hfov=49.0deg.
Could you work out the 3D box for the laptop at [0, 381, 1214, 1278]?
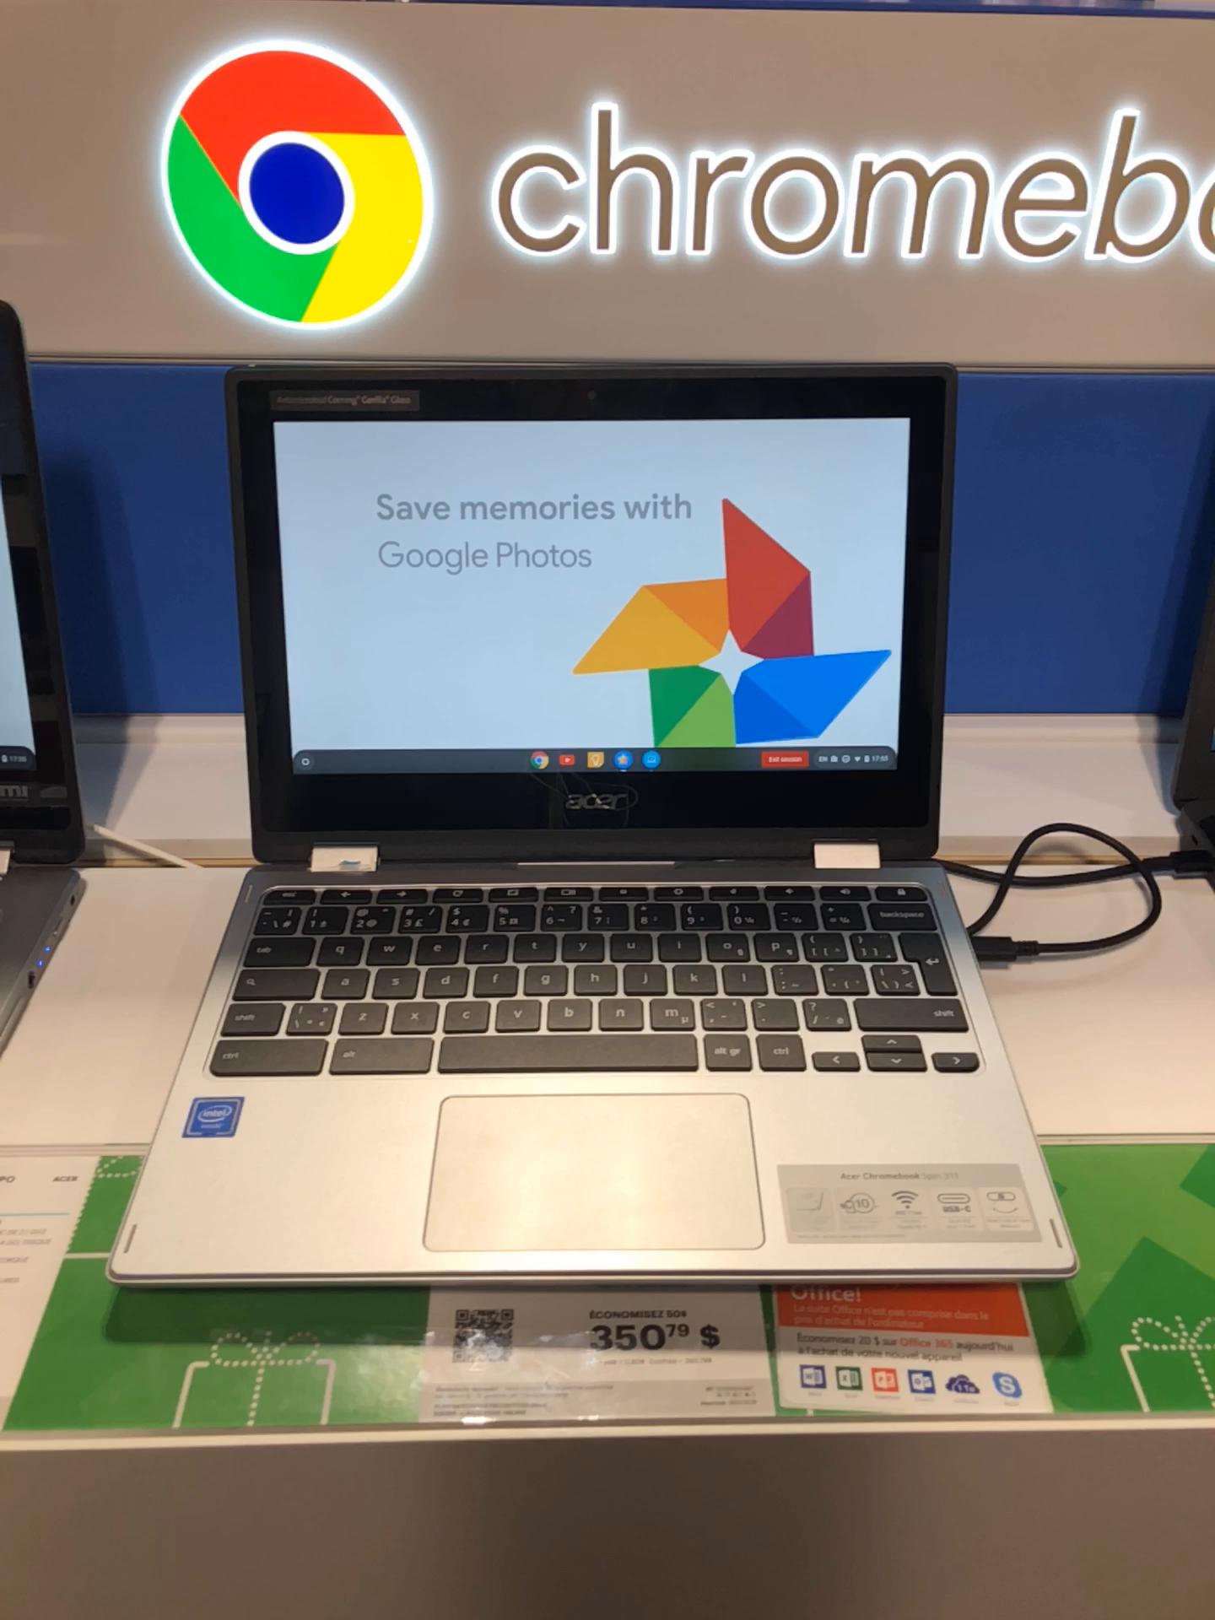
[{"bbox_3d":[-0.004,-0.014,0.460,0.284,0.181,0.274,0,35,-1],"label":"laptop"}]
